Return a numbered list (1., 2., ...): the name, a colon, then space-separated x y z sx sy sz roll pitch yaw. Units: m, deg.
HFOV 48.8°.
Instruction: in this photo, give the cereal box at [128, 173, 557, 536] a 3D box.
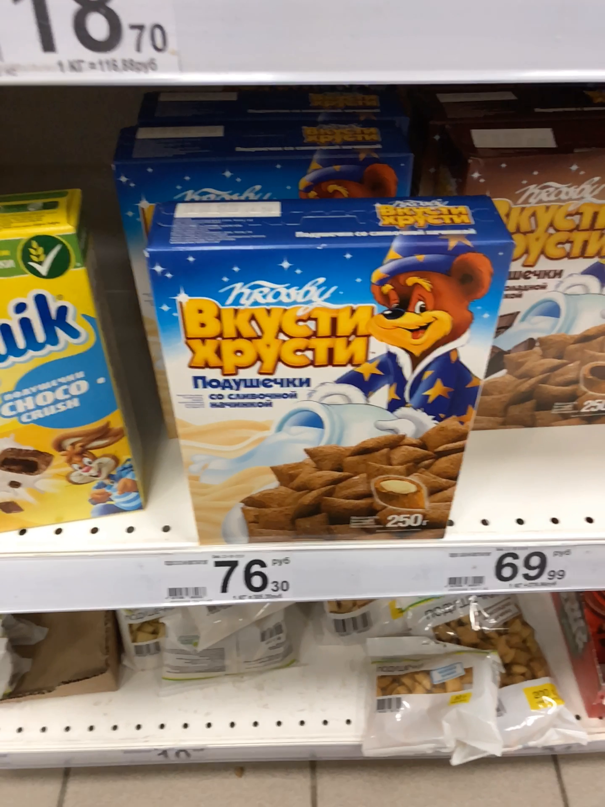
1. cereal box: 0.017 -0.013 0.391 0.190 0.229 0.050 -1 43 -2
